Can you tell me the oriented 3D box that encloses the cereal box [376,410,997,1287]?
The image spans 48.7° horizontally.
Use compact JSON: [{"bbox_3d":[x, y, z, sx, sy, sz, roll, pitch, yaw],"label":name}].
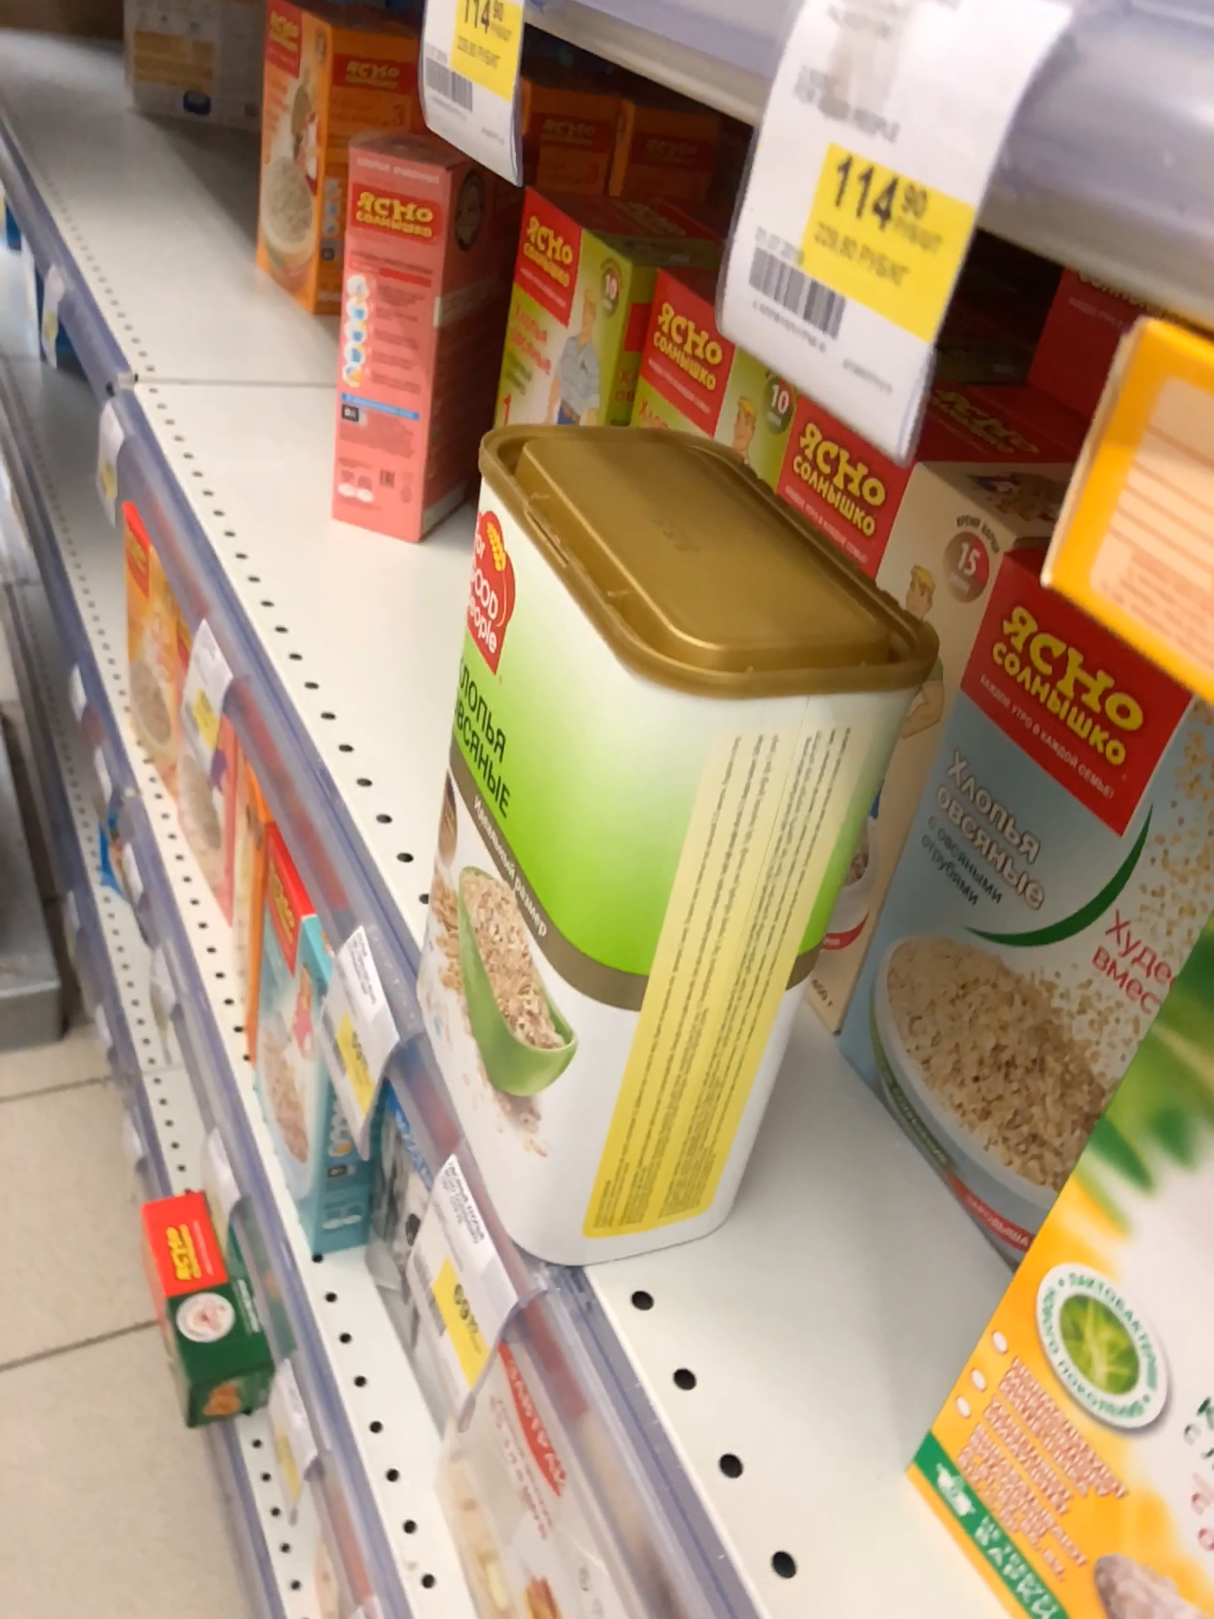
[{"bbox_3d":[0.002,0.008,0.377,0.090,0.189,0.141,-4,37,-22],"label":"cereal box"}]
